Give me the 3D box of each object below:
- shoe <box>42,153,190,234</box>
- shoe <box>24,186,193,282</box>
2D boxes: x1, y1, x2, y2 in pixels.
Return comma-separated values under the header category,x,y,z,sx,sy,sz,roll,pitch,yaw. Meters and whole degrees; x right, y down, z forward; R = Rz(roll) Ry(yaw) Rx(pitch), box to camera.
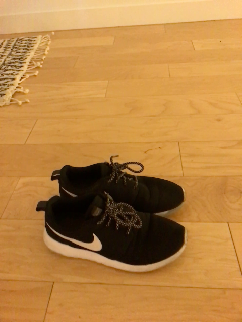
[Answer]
category,x,y,z,sx,sy,sz,roll,pitch,yaw
shoe,-0.001,0.059,0.538,0.270,0.070,0.131,3,43,11
shoe,-0.014,0.124,0.472,0.270,0.070,0.121,3,43,11
